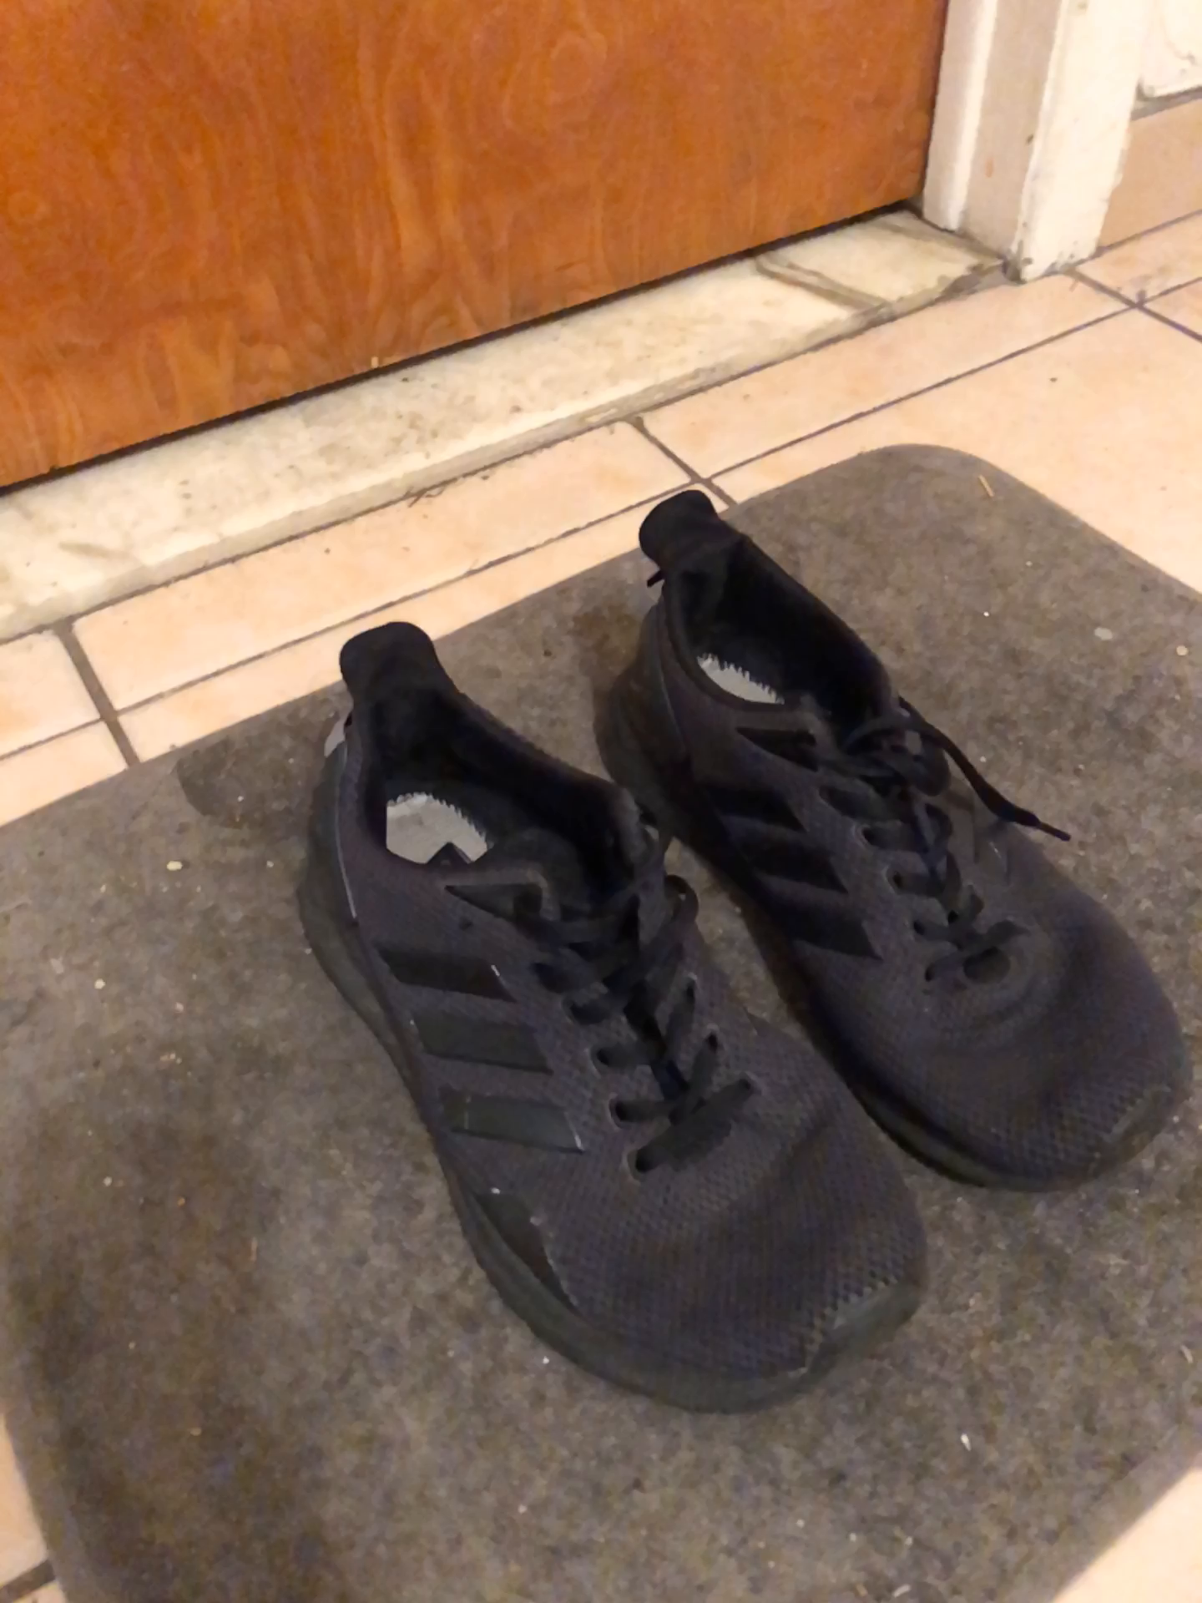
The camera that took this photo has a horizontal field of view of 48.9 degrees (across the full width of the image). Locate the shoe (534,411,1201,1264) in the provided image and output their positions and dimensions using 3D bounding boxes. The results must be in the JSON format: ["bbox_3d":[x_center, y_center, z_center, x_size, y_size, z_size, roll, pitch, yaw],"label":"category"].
[{"bbox_3d":[0.091,-0.004,0.452,0.110,0.119,0.261,-24,51,-18],"label":"shoe"}]

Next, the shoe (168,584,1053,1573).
[{"bbox_3d":[-0.015,0.065,0.407,0.110,0.119,0.261,-27,52,-26],"label":"shoe"}]
